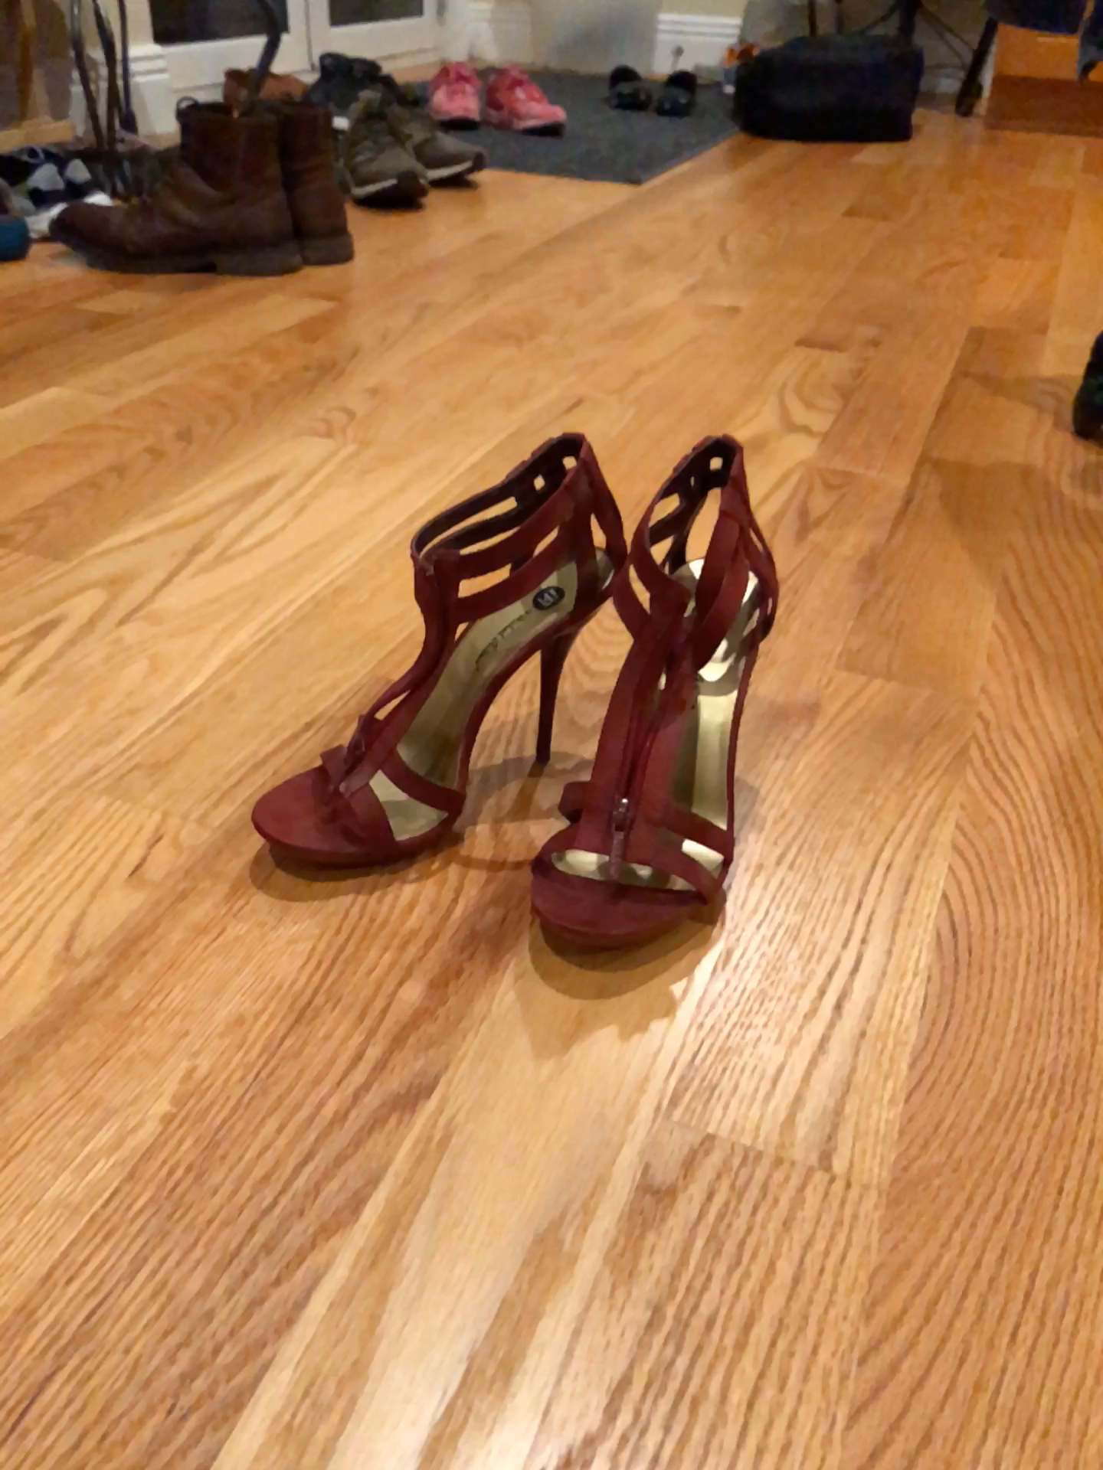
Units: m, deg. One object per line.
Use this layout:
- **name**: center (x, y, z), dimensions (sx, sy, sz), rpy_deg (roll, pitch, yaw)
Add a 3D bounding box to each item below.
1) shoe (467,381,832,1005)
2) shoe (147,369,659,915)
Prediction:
- **shoe**: center (0.046, -0.030, 0.520), dimensions (0.085, 0.175, 0.207), rpy_deg (13, 35, 16)
- **shoe**: center (-0.058, -0.050, 0.552), dimensions (0.200, 0.175, 0.085), rpy_deg (-26, 42, -35)
